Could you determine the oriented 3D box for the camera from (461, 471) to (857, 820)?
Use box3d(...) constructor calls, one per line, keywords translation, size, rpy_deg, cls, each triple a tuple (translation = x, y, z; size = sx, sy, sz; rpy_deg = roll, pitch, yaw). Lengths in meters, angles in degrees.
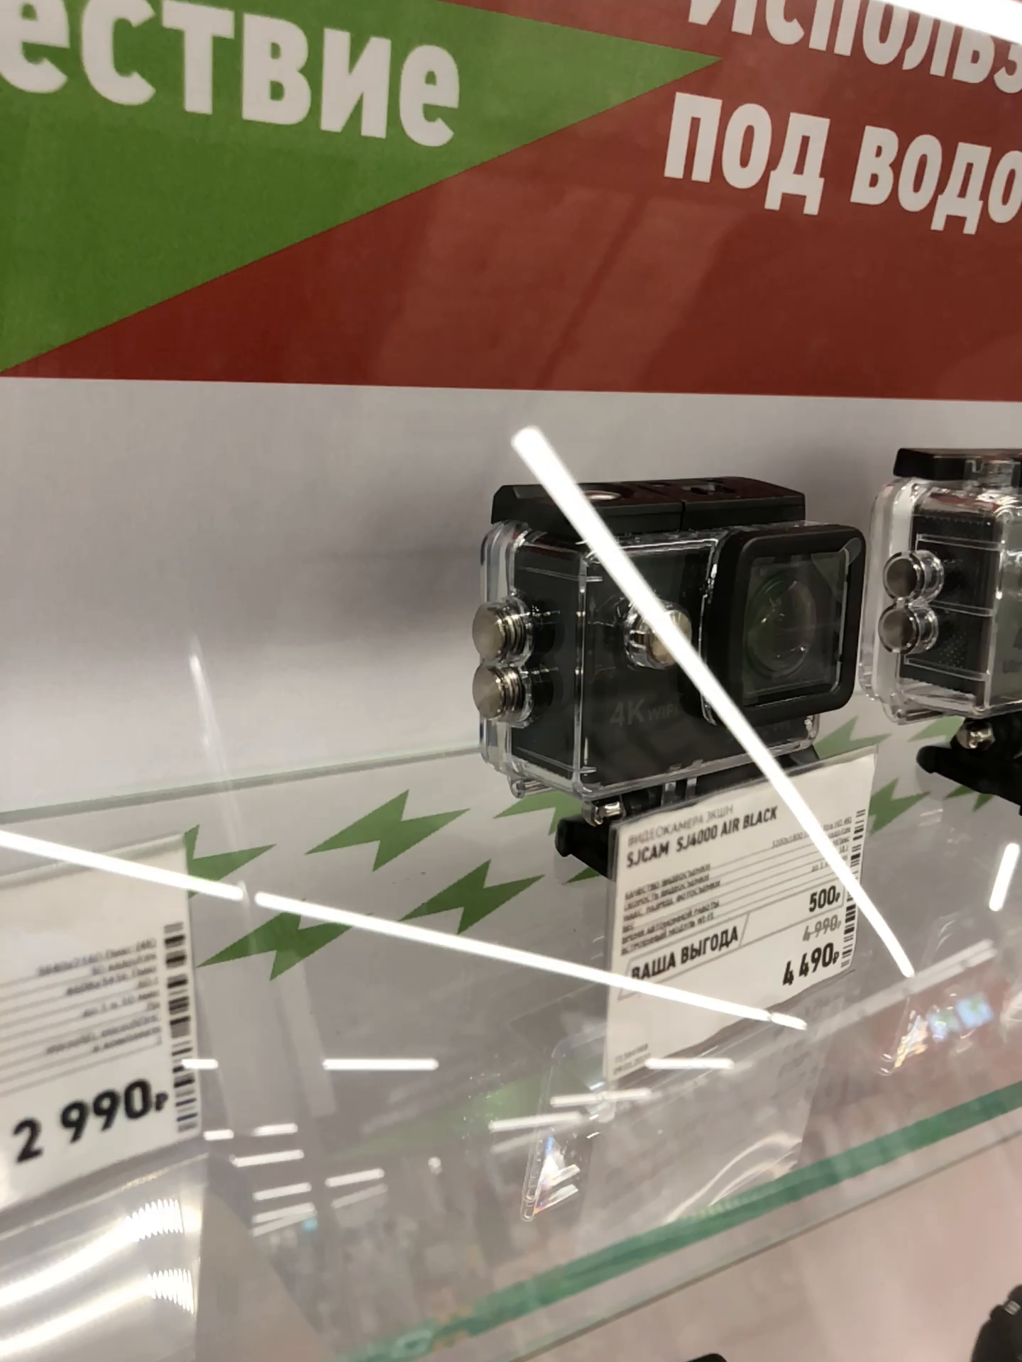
box3d(translation=(0.030, -0.011, 0.226), size=(0.074, 0.056, 0.033), rpy_deg=(-10, 17, -36), cls="camera")
